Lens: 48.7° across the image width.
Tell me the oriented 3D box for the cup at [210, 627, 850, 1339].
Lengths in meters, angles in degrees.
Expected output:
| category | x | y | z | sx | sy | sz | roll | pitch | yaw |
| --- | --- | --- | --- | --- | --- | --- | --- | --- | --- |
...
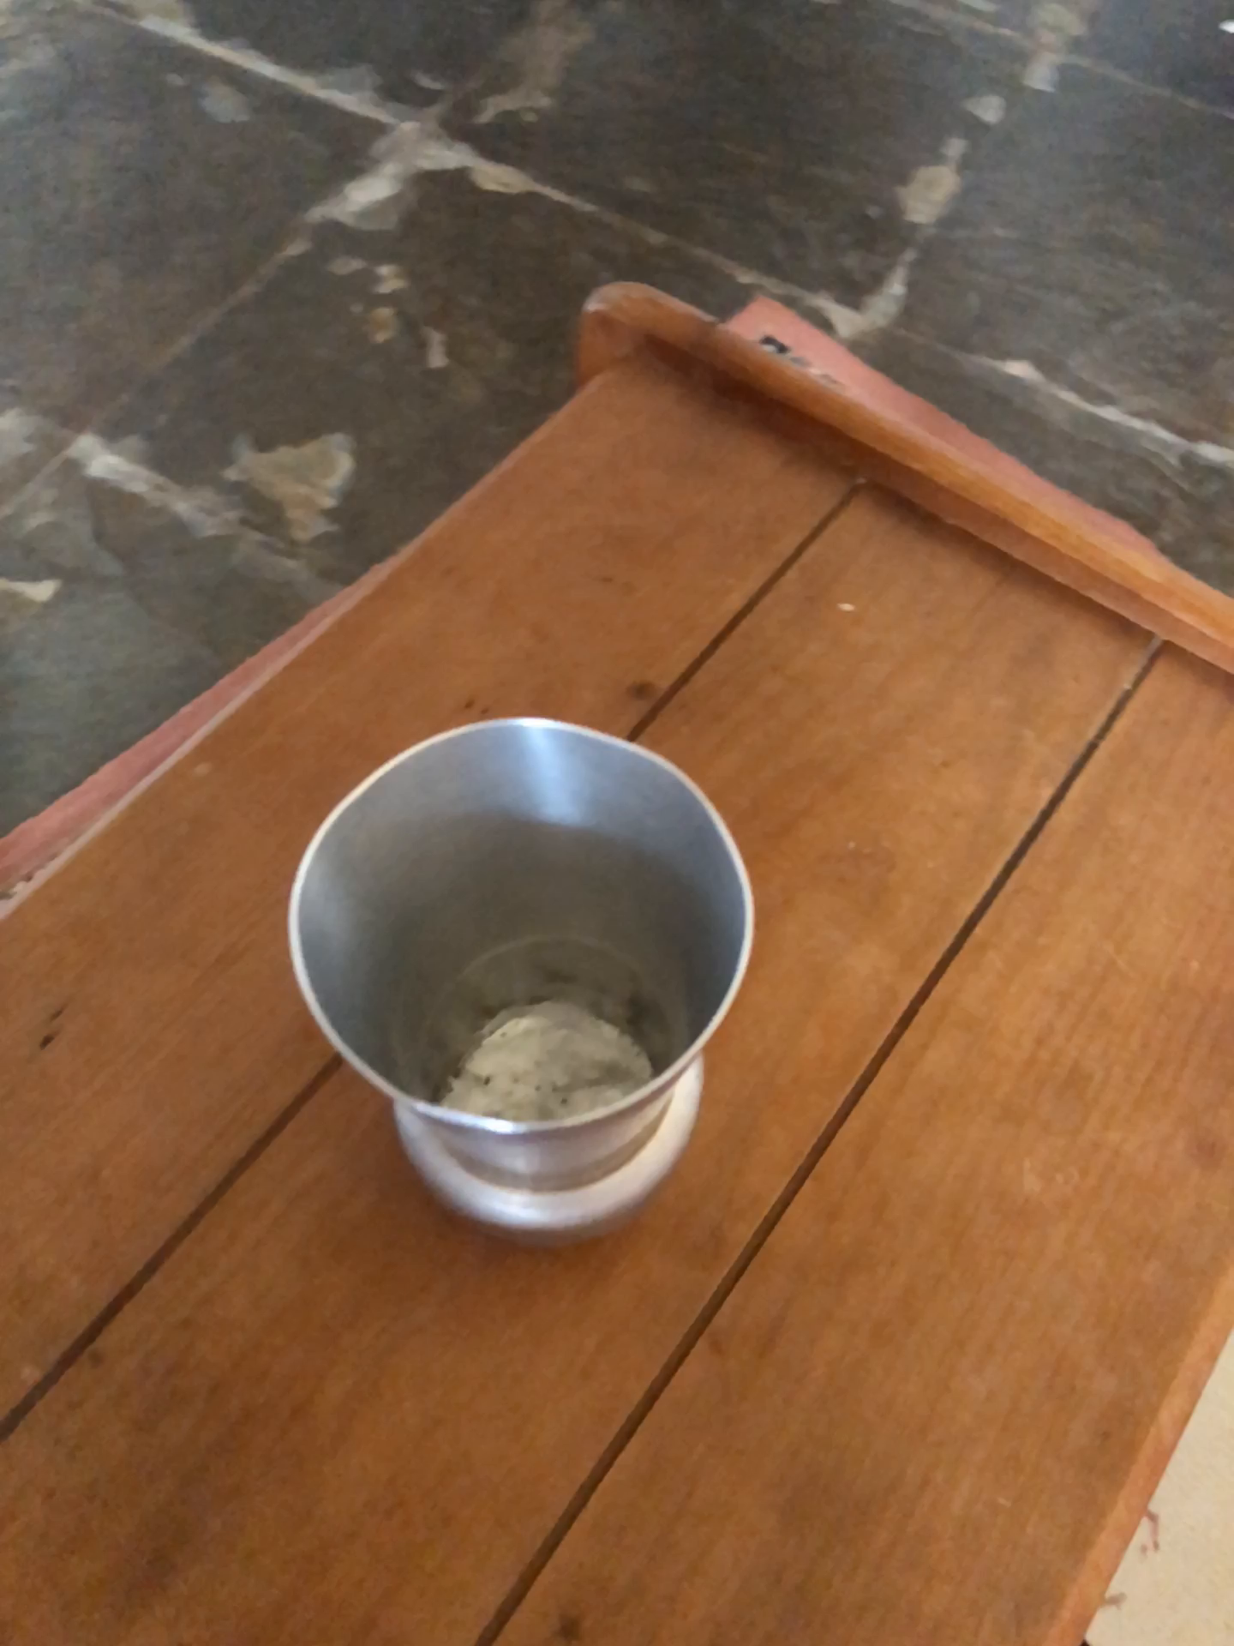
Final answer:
| category | x | y | z | sx | sy | sz | roll | pitch | yaw |
| --- | --- | --- | --- | --- | --- | --- | --- | --- | --- |
| cup | -0.014 | 0.036 | 0.256 | 0.070 | 0.109 | 0.070 | 1 | 60 | -2 |
